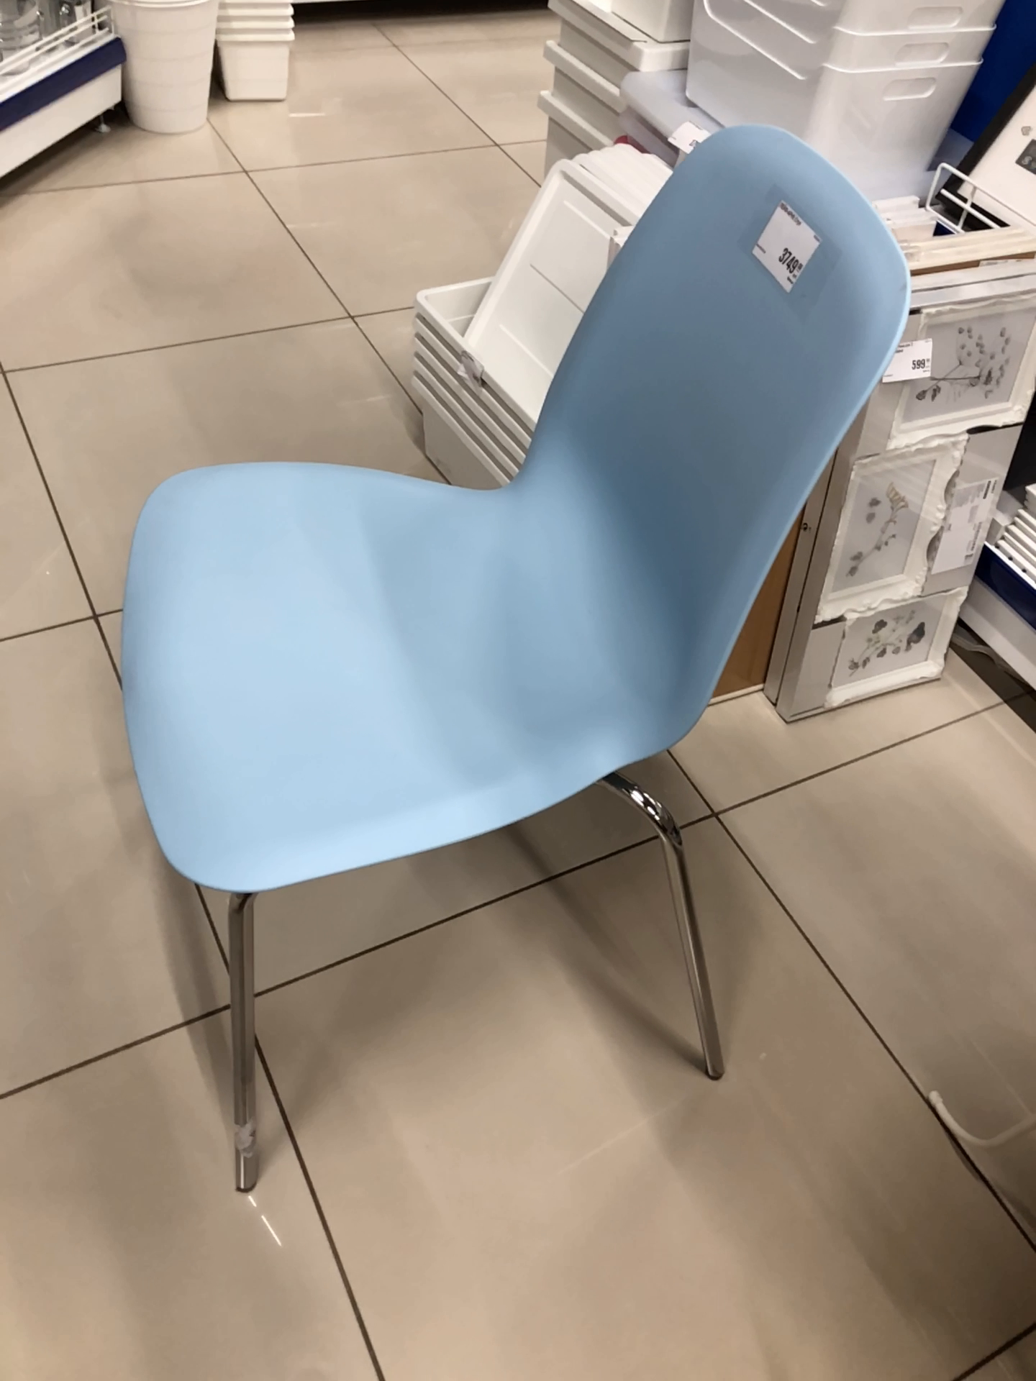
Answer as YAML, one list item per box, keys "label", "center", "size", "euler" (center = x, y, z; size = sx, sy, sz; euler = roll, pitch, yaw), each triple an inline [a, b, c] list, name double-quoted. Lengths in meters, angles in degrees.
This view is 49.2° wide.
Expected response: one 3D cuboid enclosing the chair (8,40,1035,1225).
- label: "chair"
  center: [-0.049, -0.036, 0.960]
  size: [0.541, 0.755, 0.563]
  euler: [-10, 50, -17]
